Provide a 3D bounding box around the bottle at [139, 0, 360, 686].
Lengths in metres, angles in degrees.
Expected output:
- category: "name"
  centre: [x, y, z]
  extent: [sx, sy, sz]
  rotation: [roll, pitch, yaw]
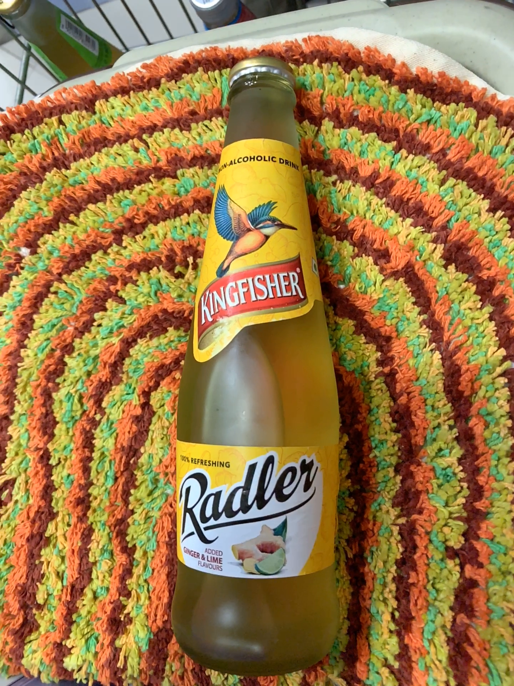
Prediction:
- category: "bottle"
  centre: [0.004, -0.009, 0.196]
  extent: [0.060, 0.060, 0.220]
  rotation: [-1, 83, 18]
